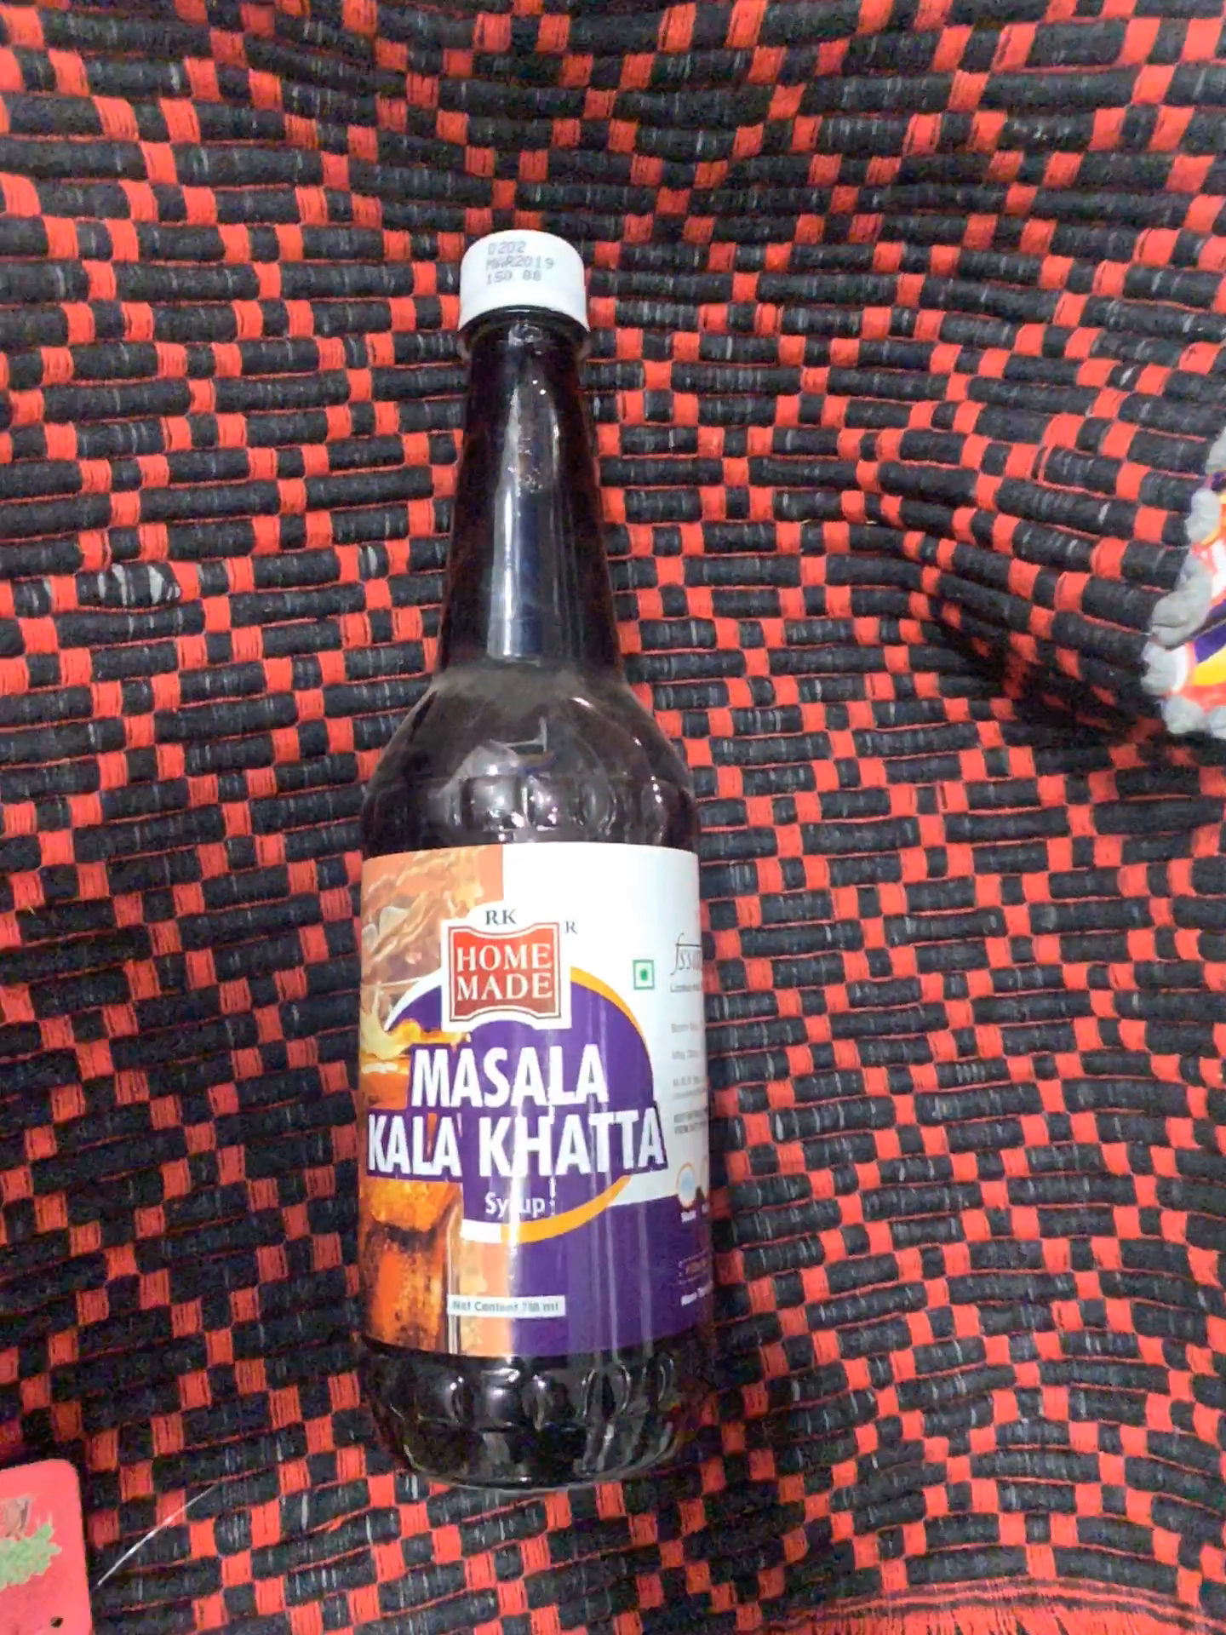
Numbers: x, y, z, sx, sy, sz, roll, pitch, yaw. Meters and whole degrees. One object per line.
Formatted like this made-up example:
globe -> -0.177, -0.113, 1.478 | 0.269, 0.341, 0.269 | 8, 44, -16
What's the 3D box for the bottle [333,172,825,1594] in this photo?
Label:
bottle -> -0.014, 0.005, 0.273 | 0.080, 0.080, 0.260 | -2, 80, -7
